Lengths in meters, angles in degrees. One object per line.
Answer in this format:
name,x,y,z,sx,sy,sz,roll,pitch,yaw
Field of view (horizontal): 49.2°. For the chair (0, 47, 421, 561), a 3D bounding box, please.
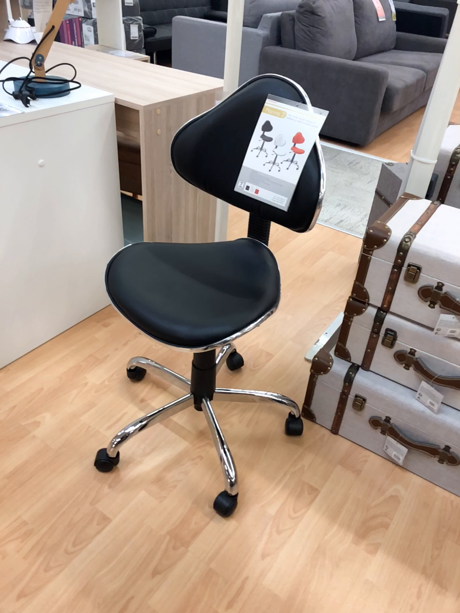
chair,-0.055,-0.051,1.165,0.600,0.855,0.614,22,39,23
